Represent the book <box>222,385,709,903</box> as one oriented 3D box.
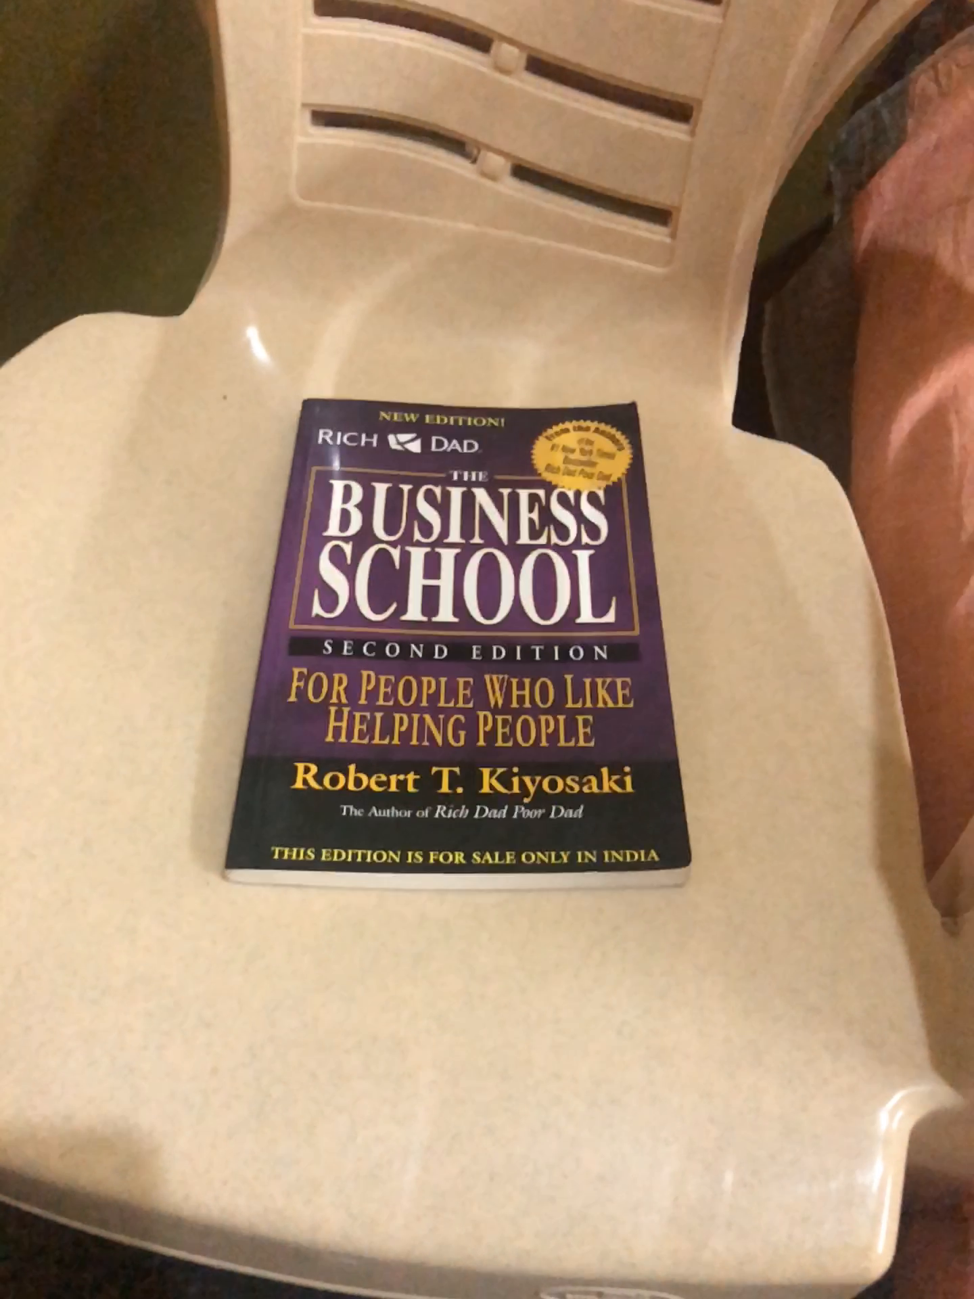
[{"bbox_3d":[-0.007,-0.013,0.444,0.170,0.020,0.230,1,60,-2],"label":"book"}]
